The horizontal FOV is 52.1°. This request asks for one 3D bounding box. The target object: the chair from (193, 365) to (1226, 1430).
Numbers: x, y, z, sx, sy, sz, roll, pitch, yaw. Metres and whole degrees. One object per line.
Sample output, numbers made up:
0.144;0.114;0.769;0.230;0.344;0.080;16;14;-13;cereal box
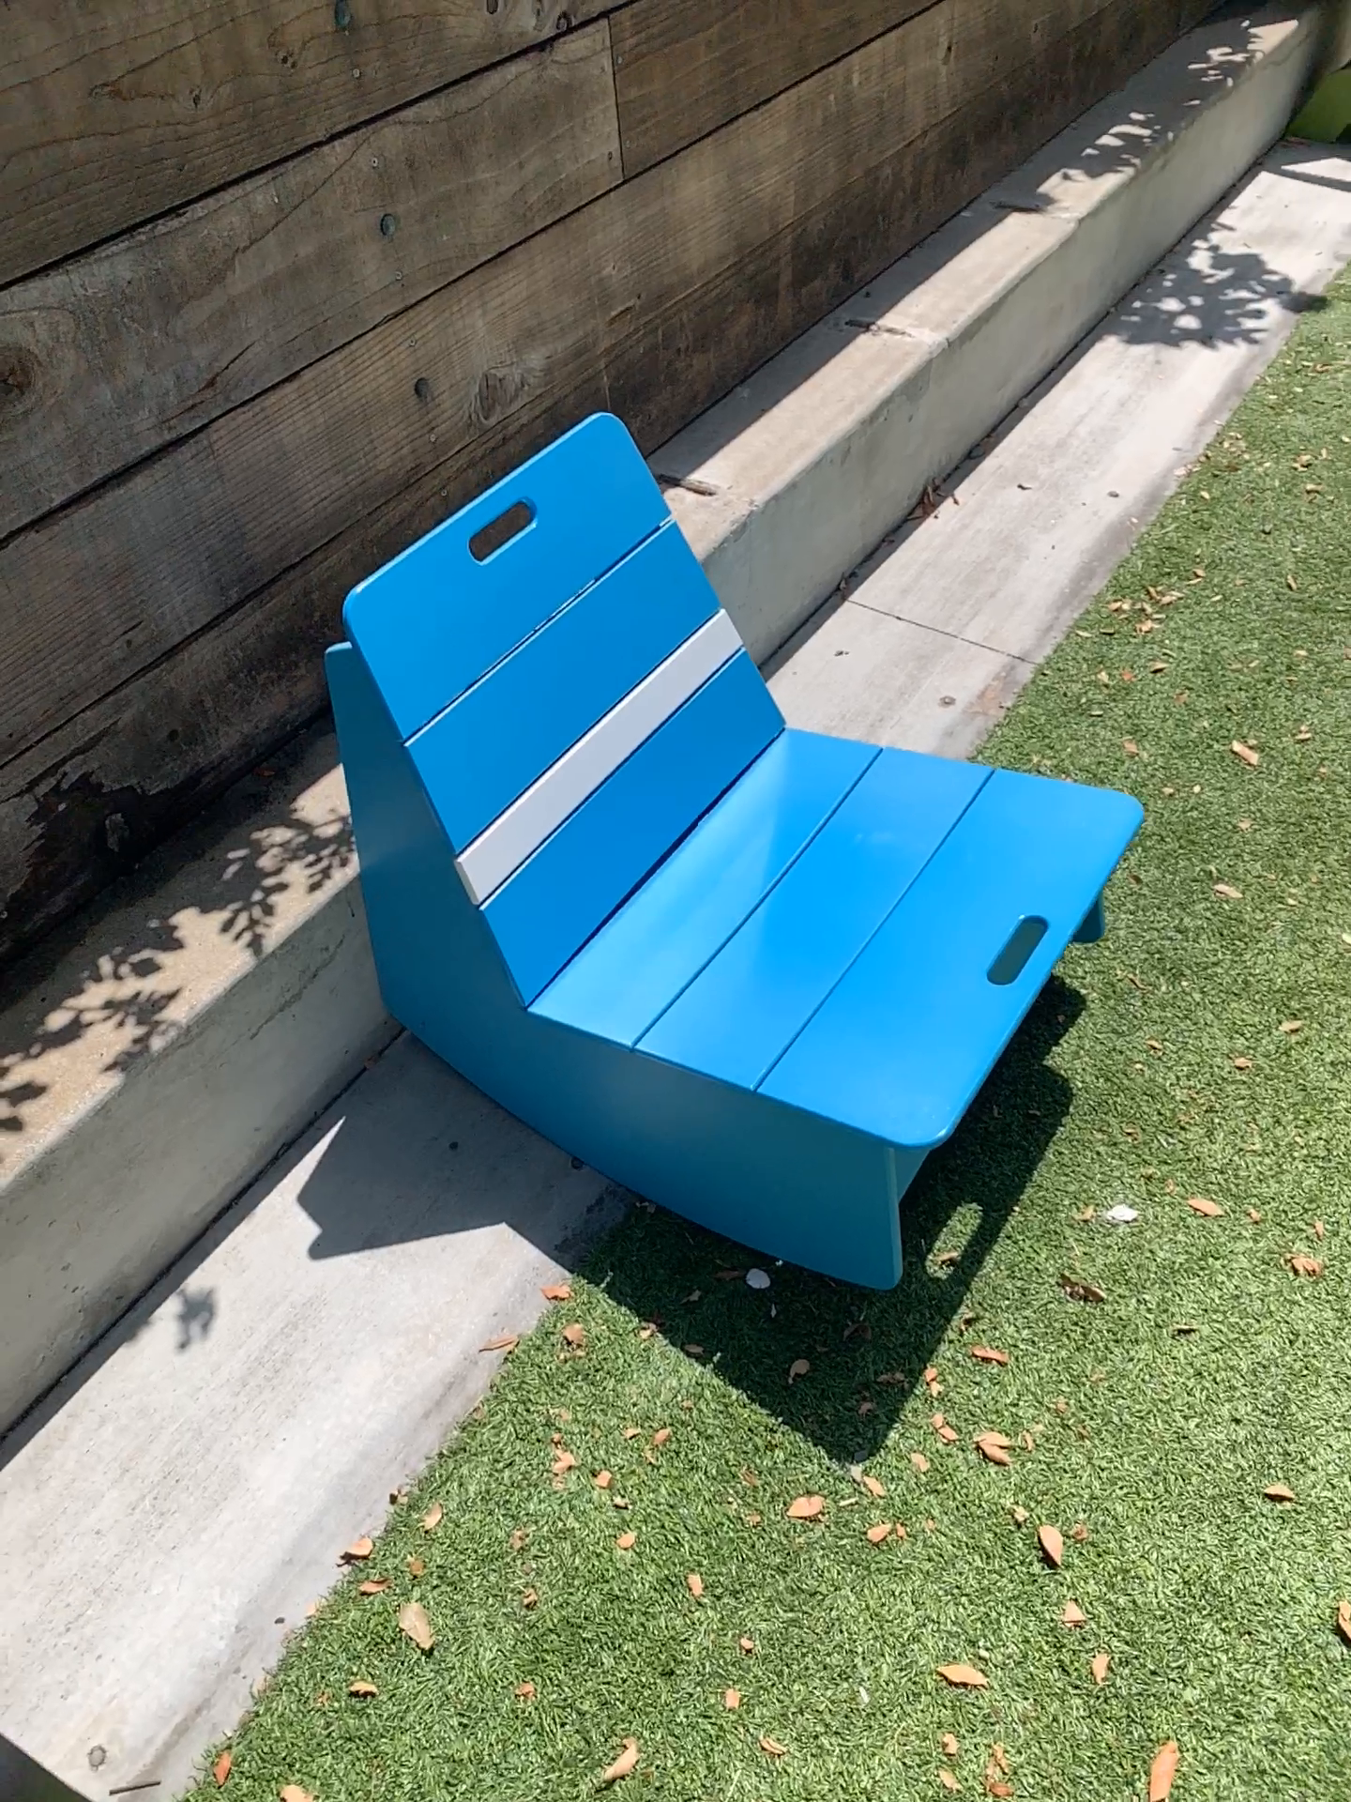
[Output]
0.045;-0.022;1.509;0.722;0.746;0.592;27;53;25;chair
